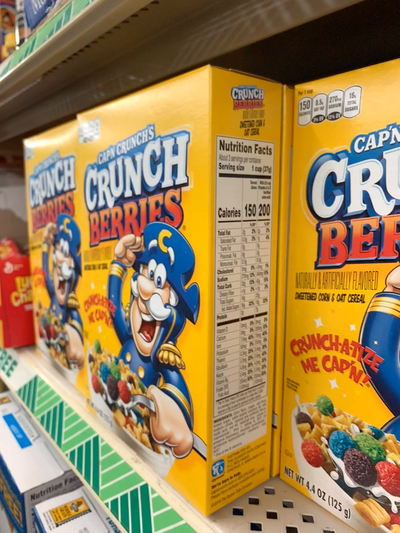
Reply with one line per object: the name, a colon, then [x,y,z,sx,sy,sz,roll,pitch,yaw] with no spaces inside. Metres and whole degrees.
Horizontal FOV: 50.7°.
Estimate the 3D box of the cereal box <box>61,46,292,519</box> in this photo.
cereal box: [-0.025,0.003,0.248,0.050,0.200,0.150,-6,11,-38]
